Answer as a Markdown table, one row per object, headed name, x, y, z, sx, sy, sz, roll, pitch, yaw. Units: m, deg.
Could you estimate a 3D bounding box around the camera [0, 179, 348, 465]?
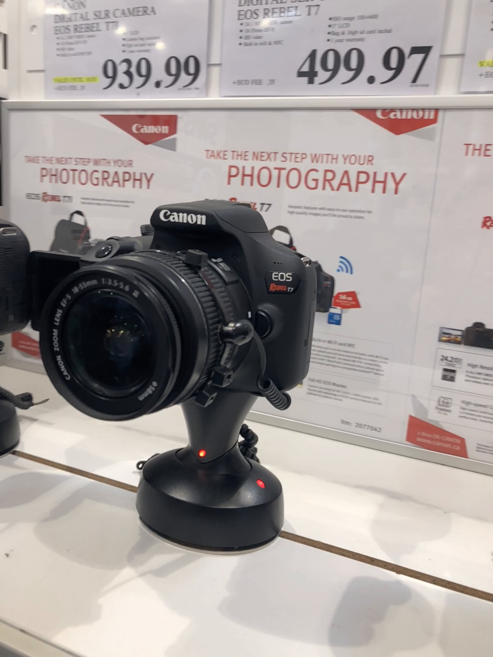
| name | x | y | z | sx | sy | sz | roll | pitch | yaw |
| --- | --- | --- | --- | --- | --- | --- | --- | --- | --- |
| camera | -0.033 | -0.018 | 0.285 | 0.130 | 0.100 | 0.140 | 9 | 13 | 24 |
